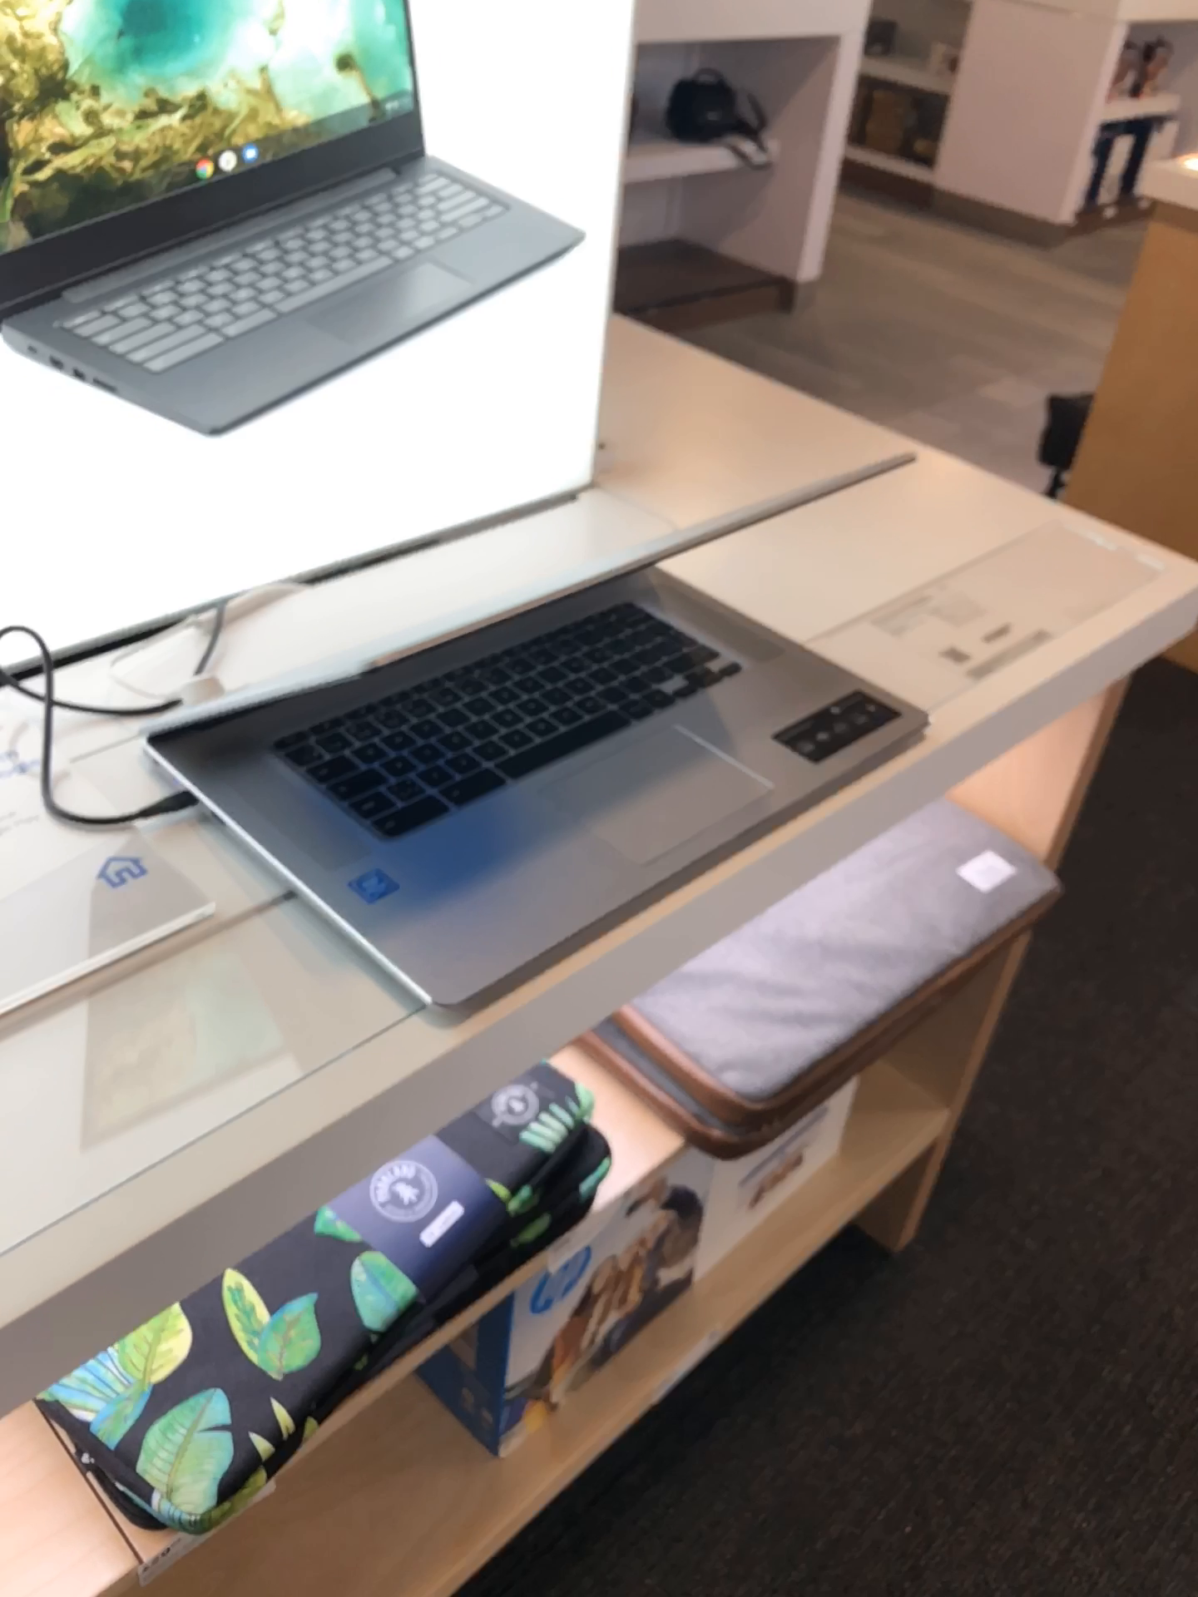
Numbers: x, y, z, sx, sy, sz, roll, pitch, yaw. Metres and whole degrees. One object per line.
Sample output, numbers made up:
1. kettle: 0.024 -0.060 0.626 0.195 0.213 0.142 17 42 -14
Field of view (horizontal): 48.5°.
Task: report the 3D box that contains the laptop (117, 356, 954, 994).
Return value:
1. laptop: -0.020 -0.097 0.703 0.231 0.146 0.366 34 43 30
